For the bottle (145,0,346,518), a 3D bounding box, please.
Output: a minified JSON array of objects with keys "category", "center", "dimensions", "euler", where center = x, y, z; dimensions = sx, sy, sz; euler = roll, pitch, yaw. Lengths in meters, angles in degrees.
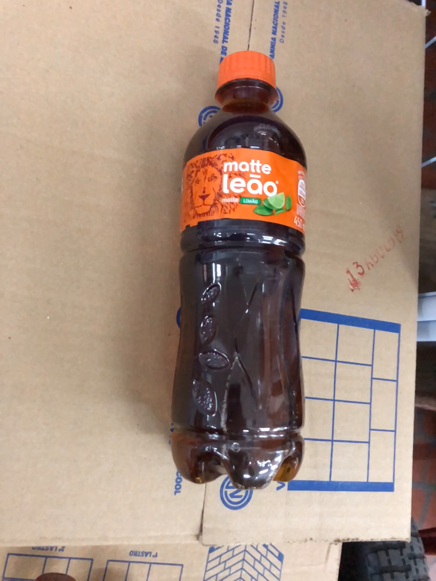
[{"category":"bottle","center":[0.010,-0.024,0.224],"dimensions":[0.070,0.060,0.220],"euler":[3,83,-20]}]
